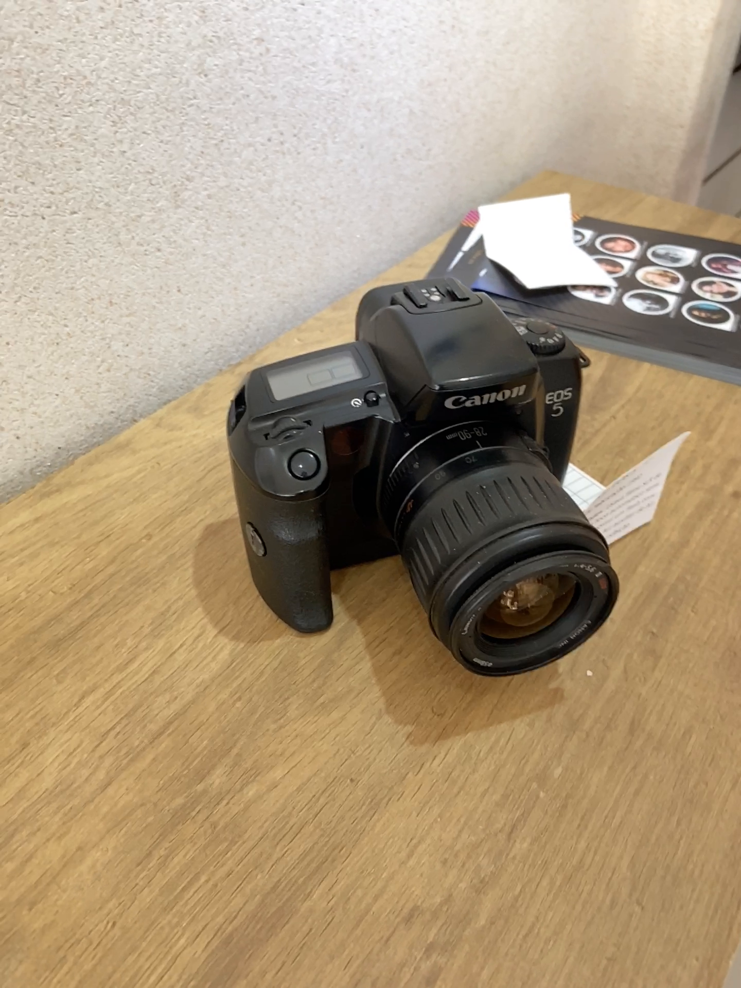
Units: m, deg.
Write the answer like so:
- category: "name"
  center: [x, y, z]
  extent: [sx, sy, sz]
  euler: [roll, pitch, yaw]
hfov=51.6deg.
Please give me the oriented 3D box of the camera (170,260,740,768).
- category: "camera"
  center: [0.018, -0.010, 0.326]
  extent: [0.160, 0.080, 0.181]
  euler: [-15, 45, -15]
